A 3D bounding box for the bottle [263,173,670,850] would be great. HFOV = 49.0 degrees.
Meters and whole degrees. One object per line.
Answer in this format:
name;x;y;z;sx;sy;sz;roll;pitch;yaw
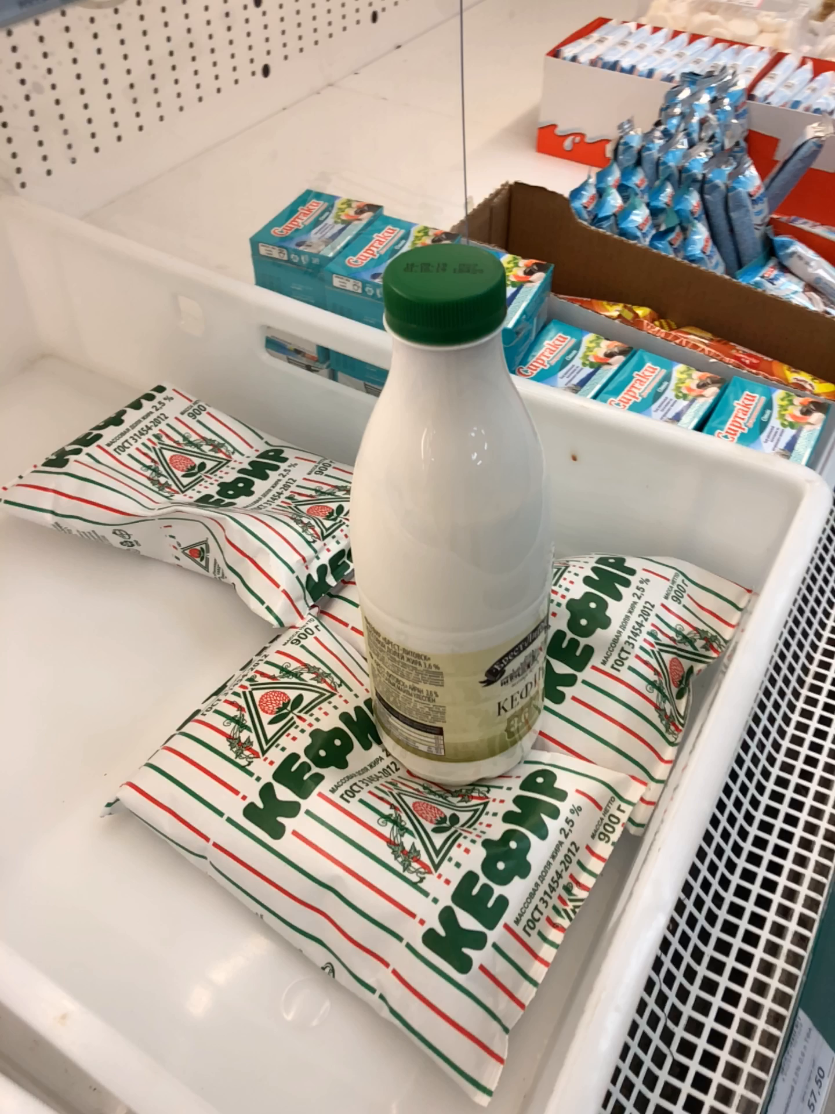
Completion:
bottle;0.013;0.000;0.384;0.090;0.269;0.090;1;46;-1
